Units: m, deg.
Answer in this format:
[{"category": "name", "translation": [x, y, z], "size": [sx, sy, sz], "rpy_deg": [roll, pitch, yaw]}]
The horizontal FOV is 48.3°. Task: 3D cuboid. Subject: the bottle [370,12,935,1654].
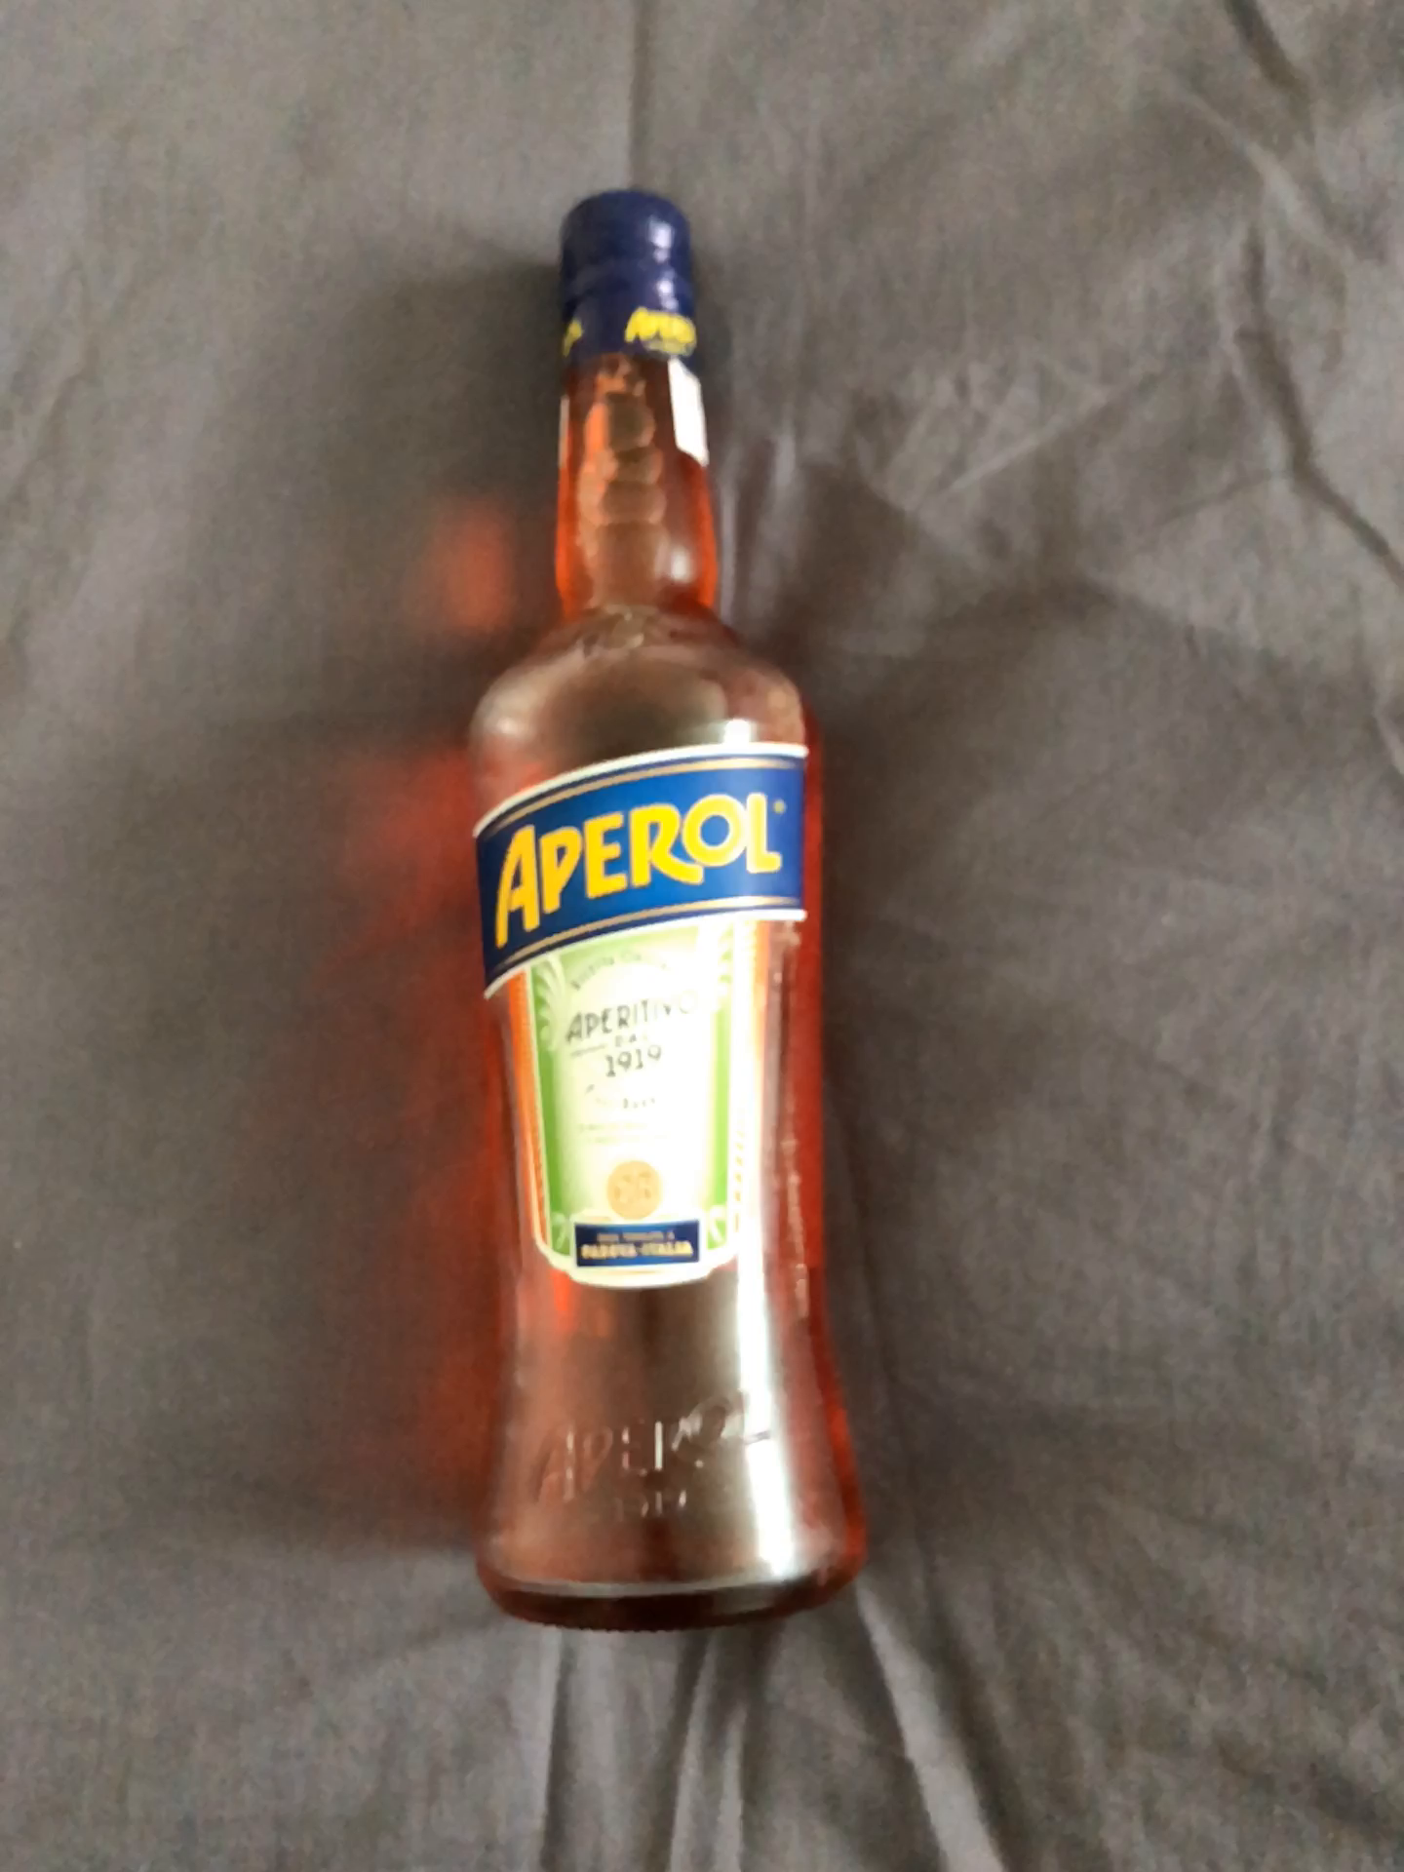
[{"category": "bottle", "translation": [-0.011, -0.025, 0.340], "size": [0.100, 0.070, 0.320], "rpy_deg": [-4, 80, 10]}]
